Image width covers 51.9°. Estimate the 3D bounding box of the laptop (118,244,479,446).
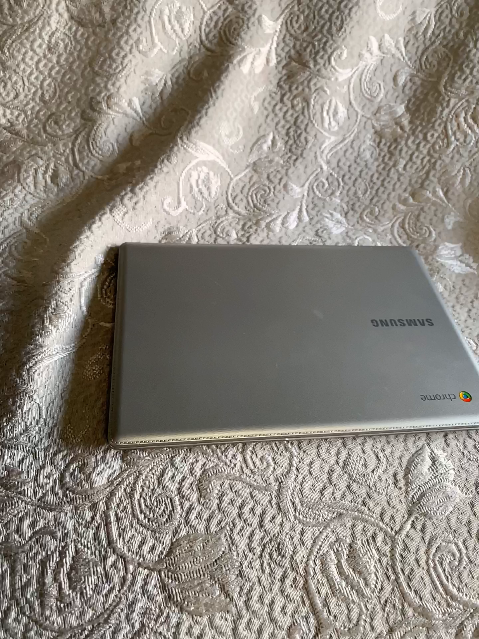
[{"bbox_3d":[0.042,0.006,0.384,0.264,0.005,0.176,-1,52,-11],"label":"laptop"}]
